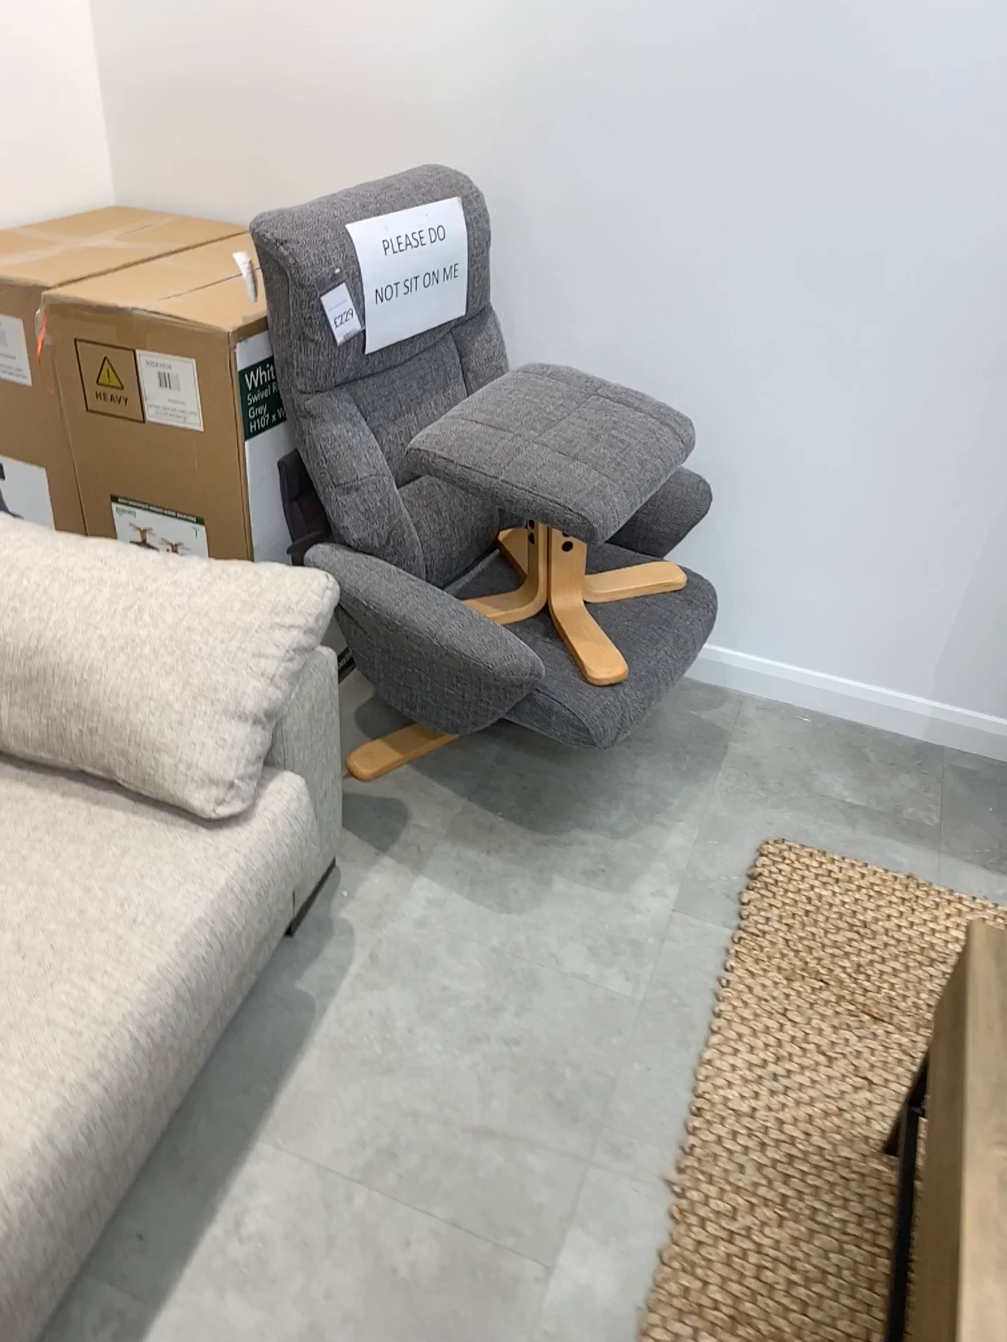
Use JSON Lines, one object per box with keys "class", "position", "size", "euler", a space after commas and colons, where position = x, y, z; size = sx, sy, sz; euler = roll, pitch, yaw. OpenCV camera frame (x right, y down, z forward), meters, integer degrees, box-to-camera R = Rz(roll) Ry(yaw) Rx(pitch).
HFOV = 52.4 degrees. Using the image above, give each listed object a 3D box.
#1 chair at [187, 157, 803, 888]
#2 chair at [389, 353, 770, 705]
{"class": "chair", "position": [-0.001, -0.315, 1.857], "size": [0.721, 0.975, 0.707], "euler": [18, 36, 20]}
{"class": "chair", "position": [0.133, -0.279, 1.796], "size": [0.480, 0.351, 0.485], "euler": [19, 36, 21]}
